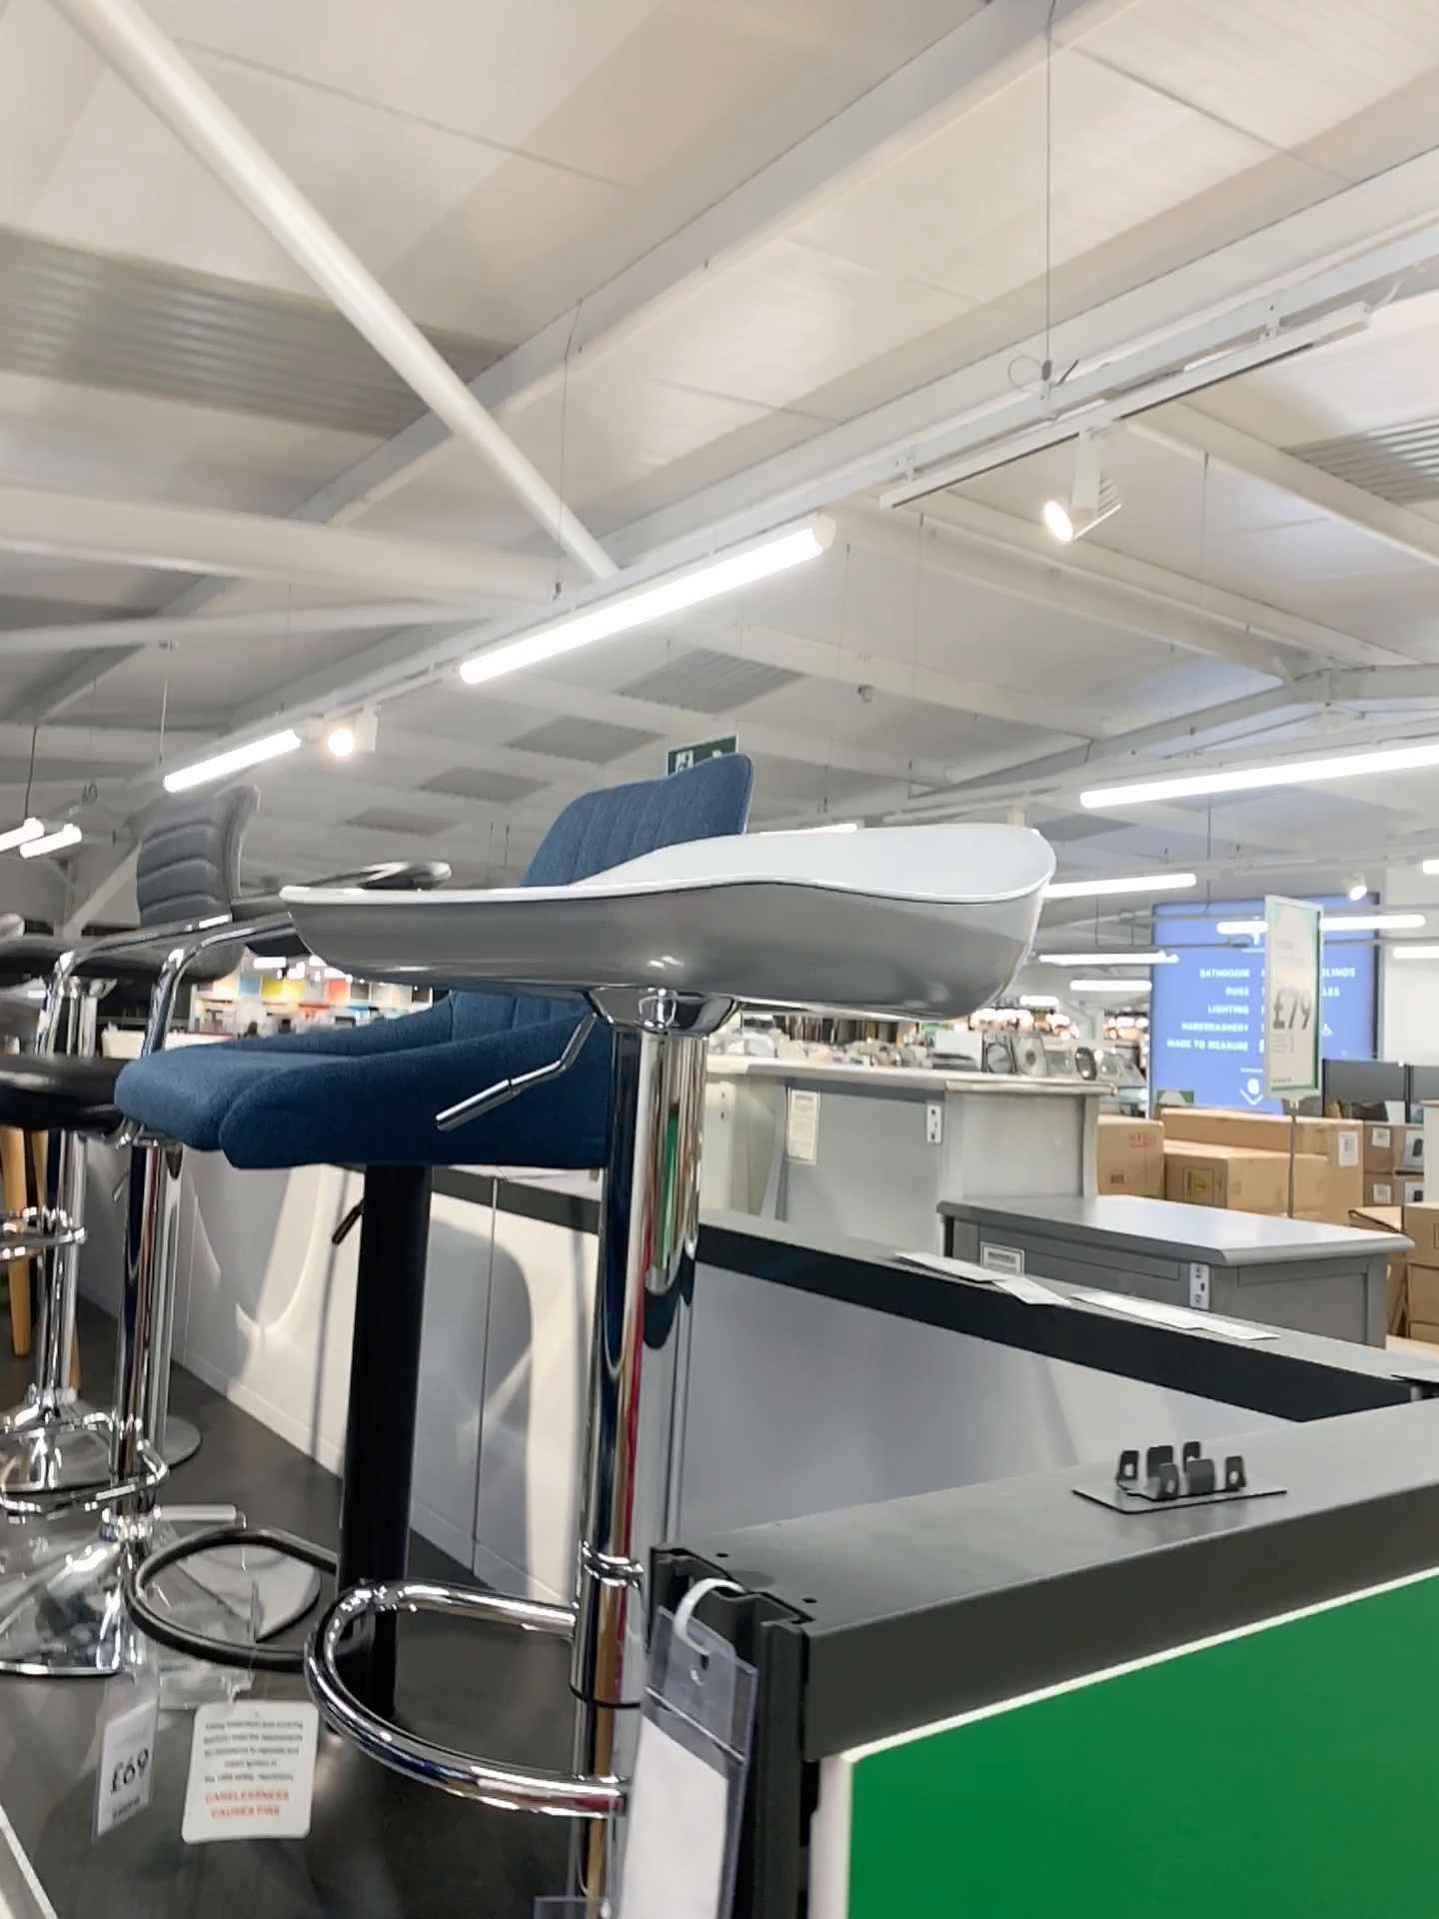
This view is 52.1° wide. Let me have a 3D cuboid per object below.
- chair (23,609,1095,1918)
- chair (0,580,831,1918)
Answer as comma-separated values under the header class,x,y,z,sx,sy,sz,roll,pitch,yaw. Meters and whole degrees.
class,x,y,z,sx,sy,sz,roll,pitch,yaw
chair,-0.080,0.275,0.845,0.402,0.804,0.402,-1,-6,45
chair,-0.287,0.233,1.206,0.482,0.885,0.532,6,-6,-40
